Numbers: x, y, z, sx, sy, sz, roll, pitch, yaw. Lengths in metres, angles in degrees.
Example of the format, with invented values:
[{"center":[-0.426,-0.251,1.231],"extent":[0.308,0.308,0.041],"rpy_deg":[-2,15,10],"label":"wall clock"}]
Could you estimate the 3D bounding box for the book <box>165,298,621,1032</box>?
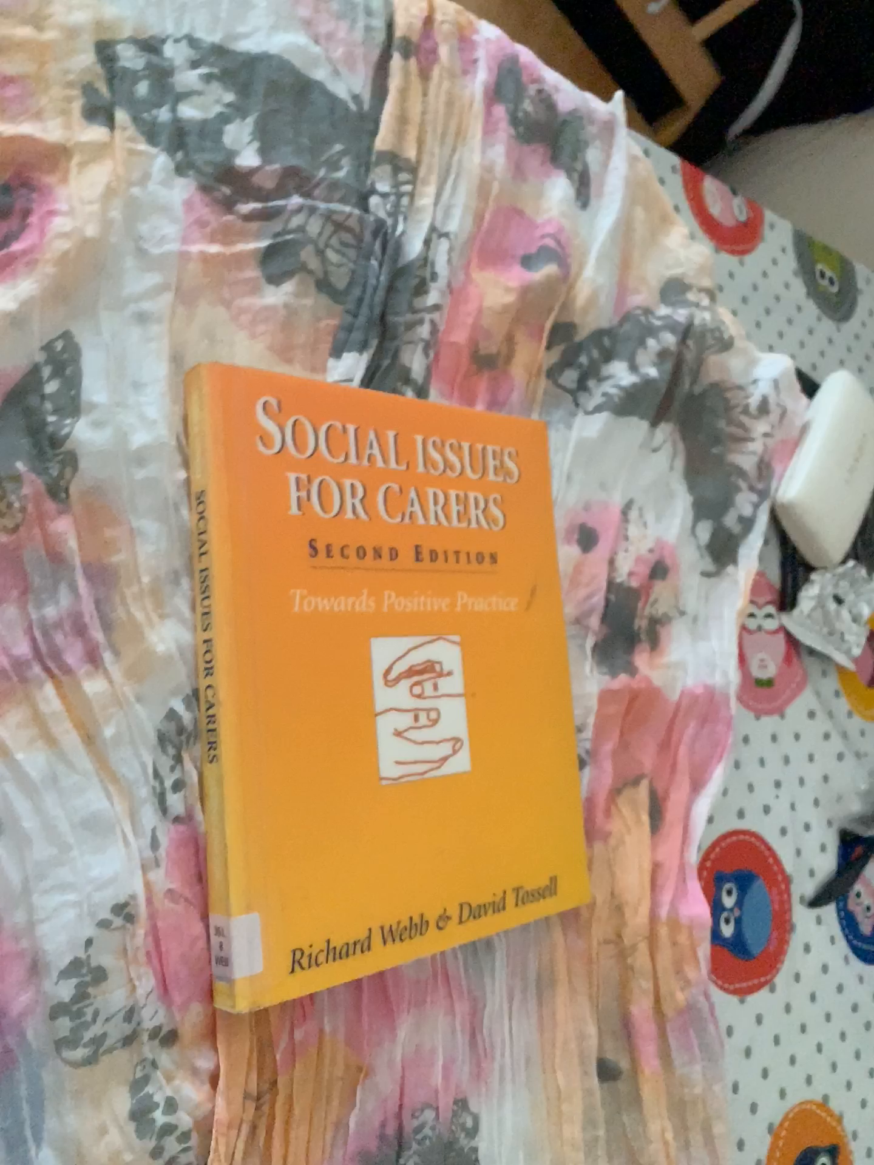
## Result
[{"center":[-0.012,0.027,0.410],"extent":[0.201,0.040,0.270],"rpy_deg":[1,81,-38],"label":"book"}]
